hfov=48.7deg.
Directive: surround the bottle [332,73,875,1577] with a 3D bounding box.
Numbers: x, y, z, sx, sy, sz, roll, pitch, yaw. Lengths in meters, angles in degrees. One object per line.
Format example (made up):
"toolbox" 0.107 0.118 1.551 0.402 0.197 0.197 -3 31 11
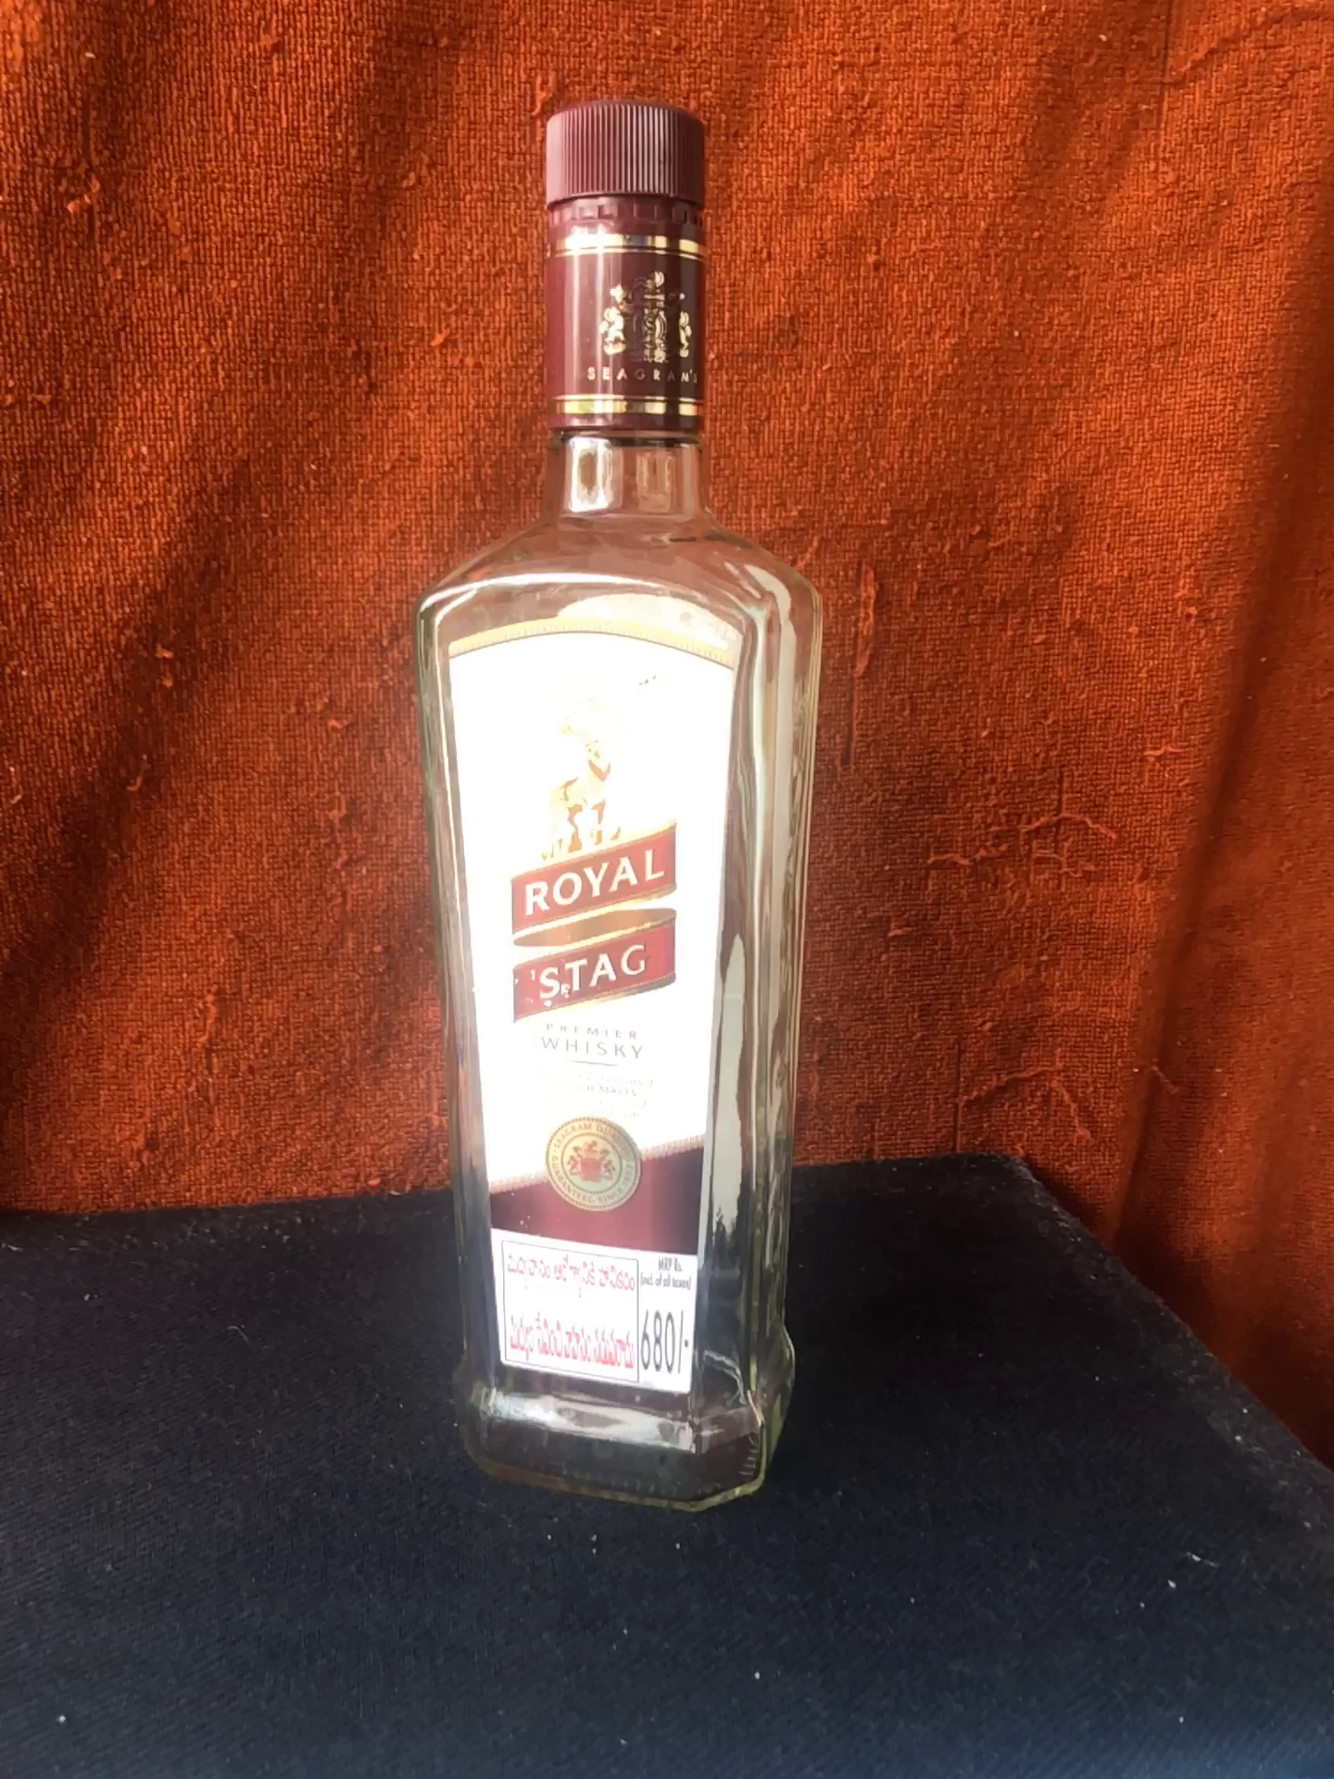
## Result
"bottle" -0.015 -0.005 0.313 0.090 0.289 0.060 6 15 10
